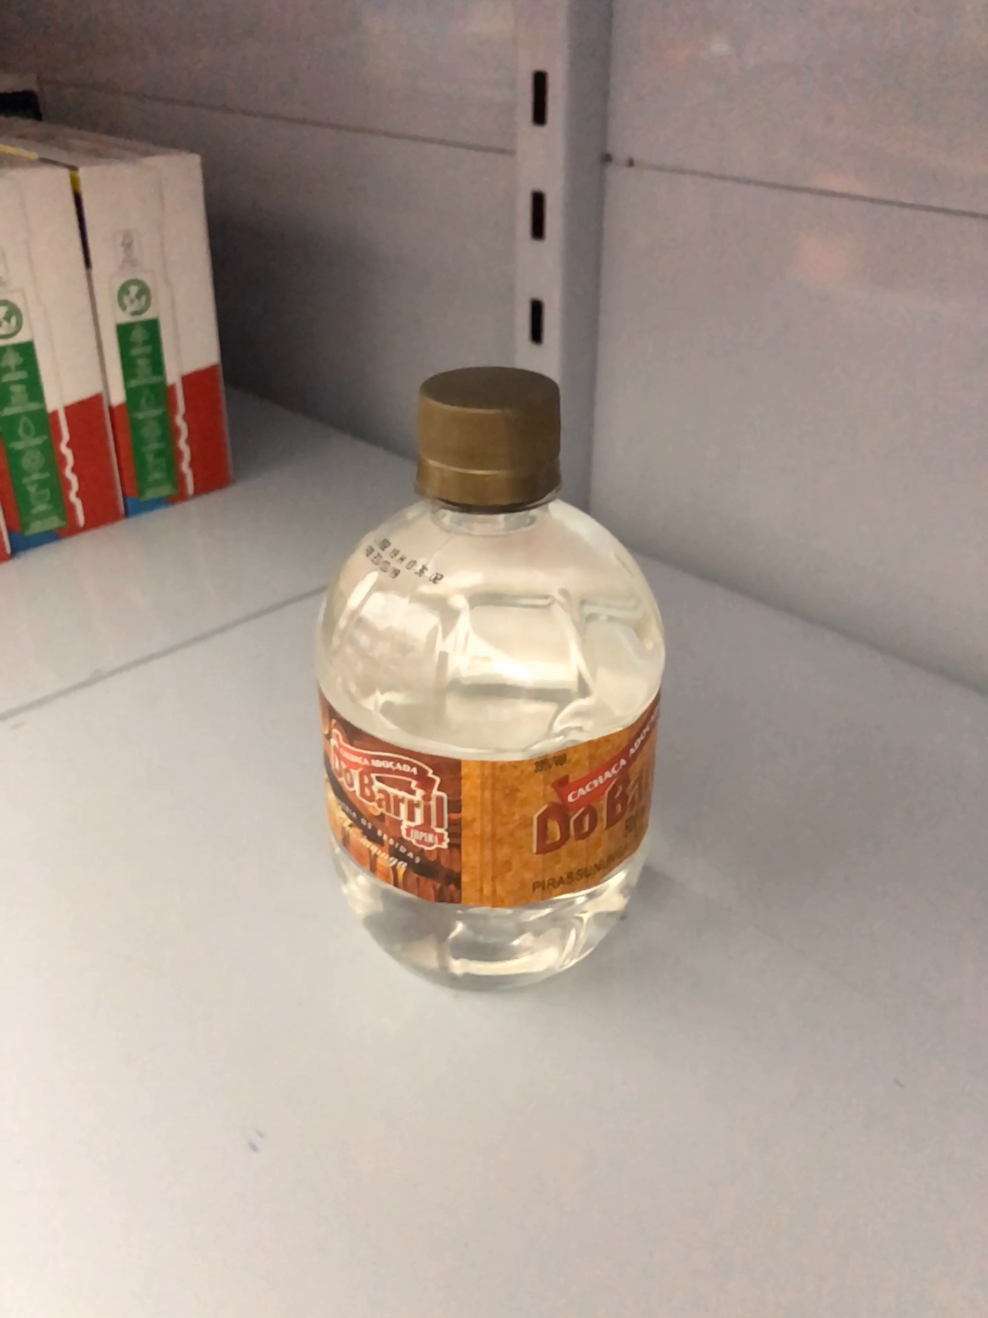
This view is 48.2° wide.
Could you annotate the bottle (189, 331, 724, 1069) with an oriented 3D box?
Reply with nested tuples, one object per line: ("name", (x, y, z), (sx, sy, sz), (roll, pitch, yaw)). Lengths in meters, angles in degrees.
("bottle", (-0.006, 0.006, 0.268), (0.080, 0.139, 0.080), (0, 31, 0))
